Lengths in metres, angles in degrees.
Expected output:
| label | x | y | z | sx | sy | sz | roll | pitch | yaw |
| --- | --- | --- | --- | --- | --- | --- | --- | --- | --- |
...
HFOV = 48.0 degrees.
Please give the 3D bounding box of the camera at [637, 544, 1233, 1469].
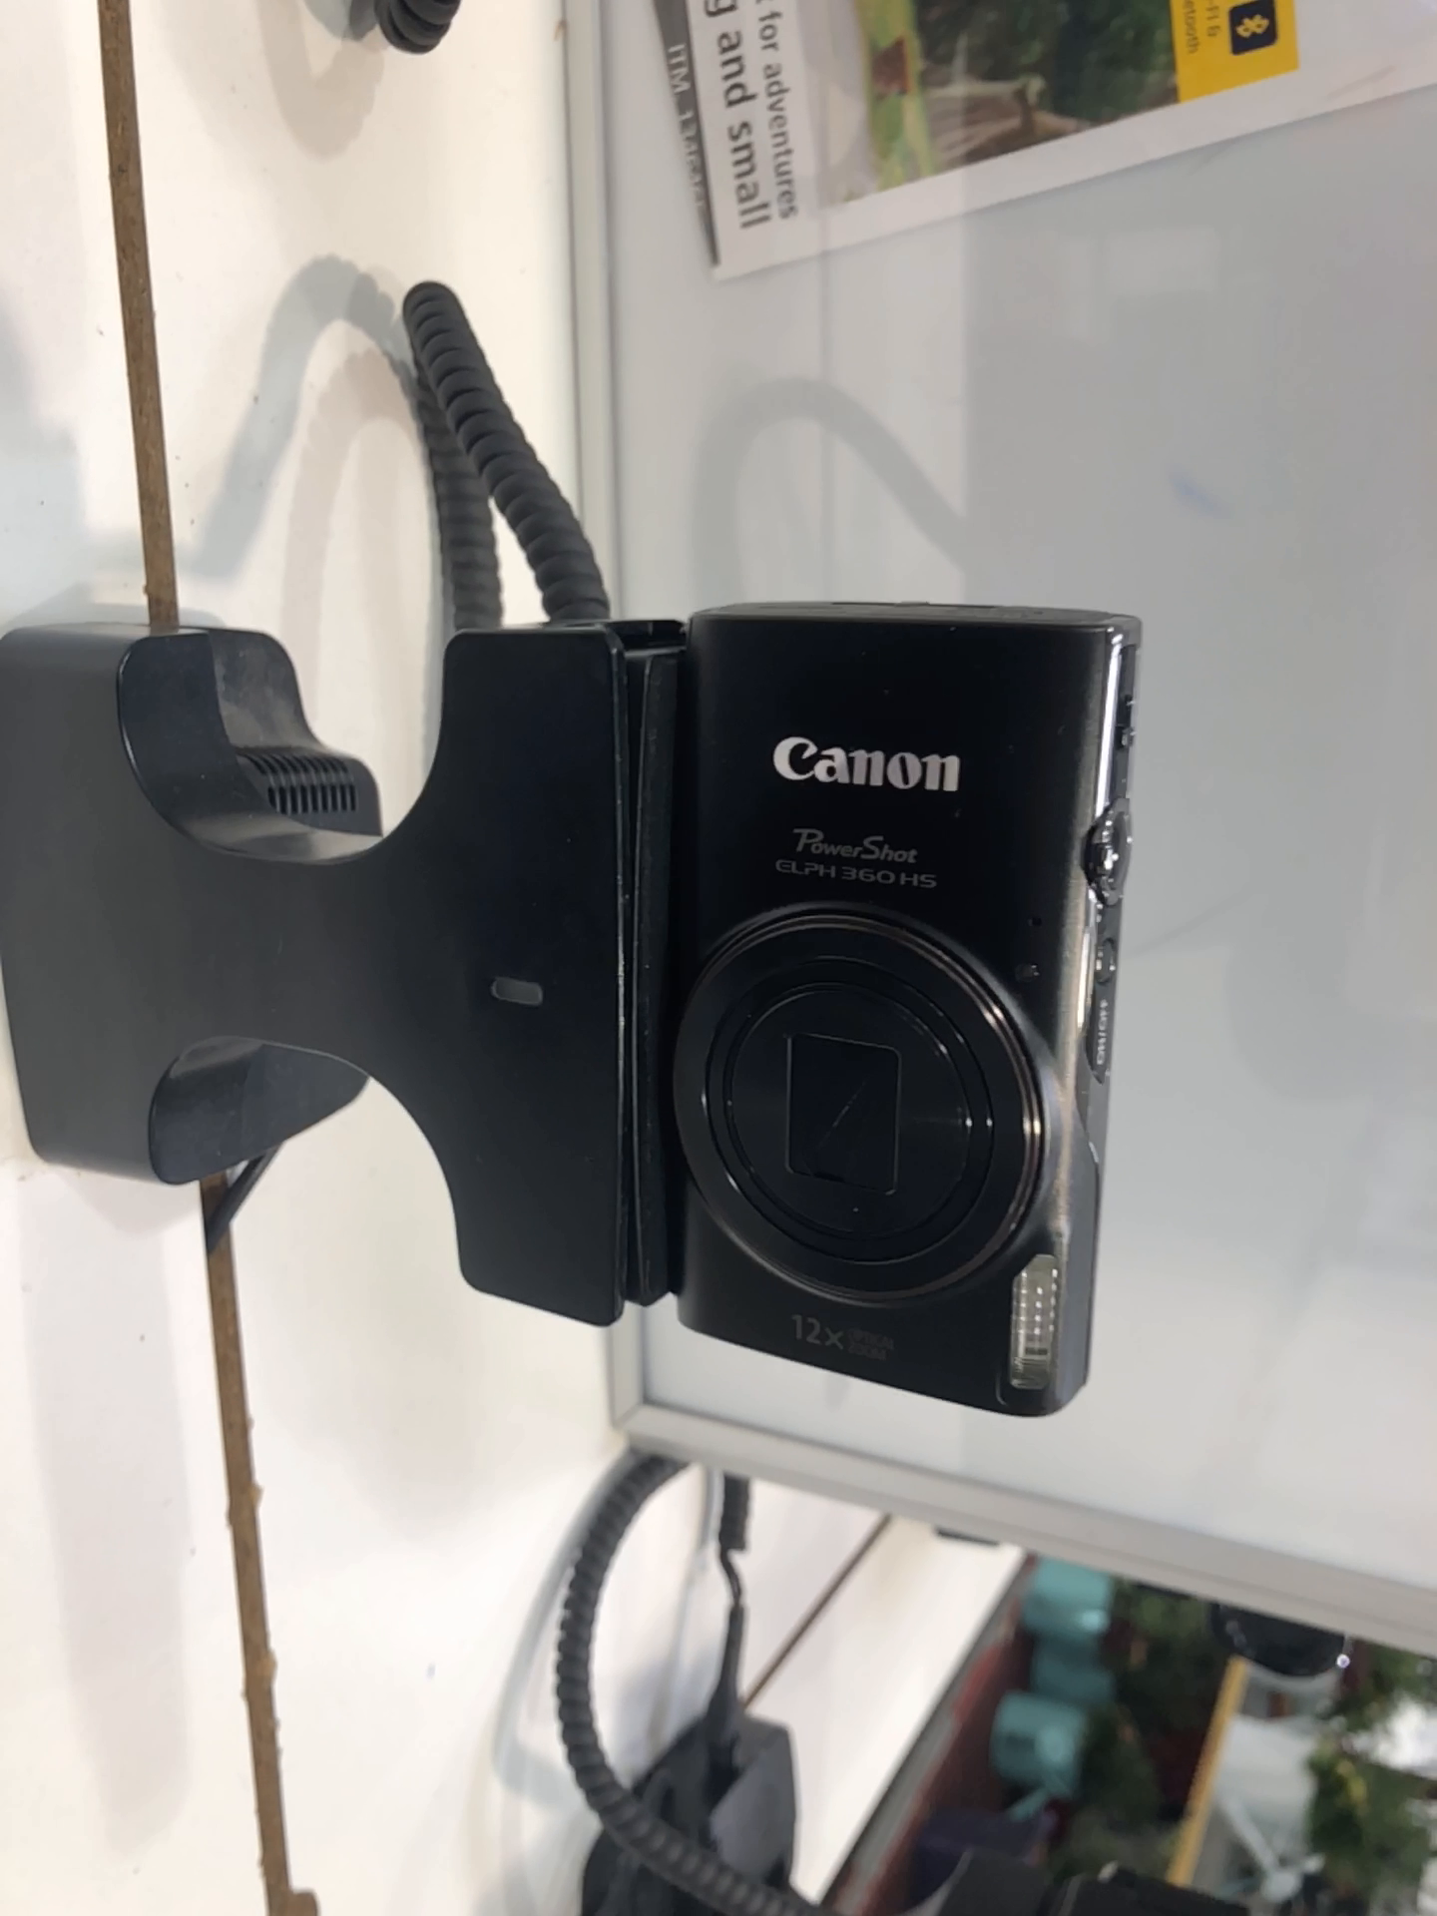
| label | x | y | z | sx | sy | sz | roll | pitch | yaw |
| --- | --- | --- | --- | --- | --- | --- | --- | --- | --- |
| camera | 0.027 | 0.003 | 0.217 | 0.030 | 0.070 | 0.110 | -18 | 111 | -61 |
